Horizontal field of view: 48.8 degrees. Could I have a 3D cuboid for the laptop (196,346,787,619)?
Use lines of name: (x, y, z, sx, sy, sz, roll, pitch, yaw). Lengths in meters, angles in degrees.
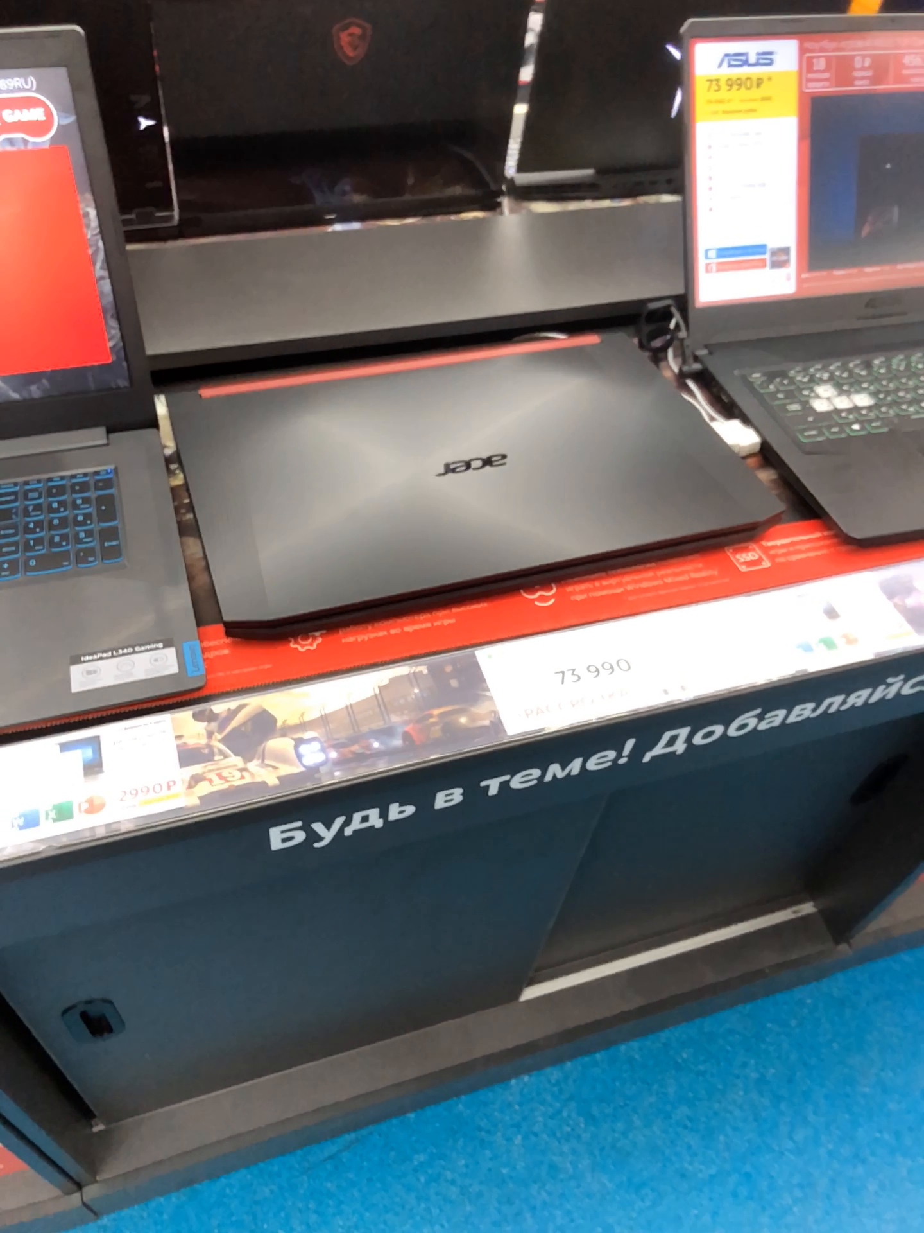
laptop: (0.014, -0.119, 0.759, 0.370, 0.002, 0.256, -12, 45, -18)
